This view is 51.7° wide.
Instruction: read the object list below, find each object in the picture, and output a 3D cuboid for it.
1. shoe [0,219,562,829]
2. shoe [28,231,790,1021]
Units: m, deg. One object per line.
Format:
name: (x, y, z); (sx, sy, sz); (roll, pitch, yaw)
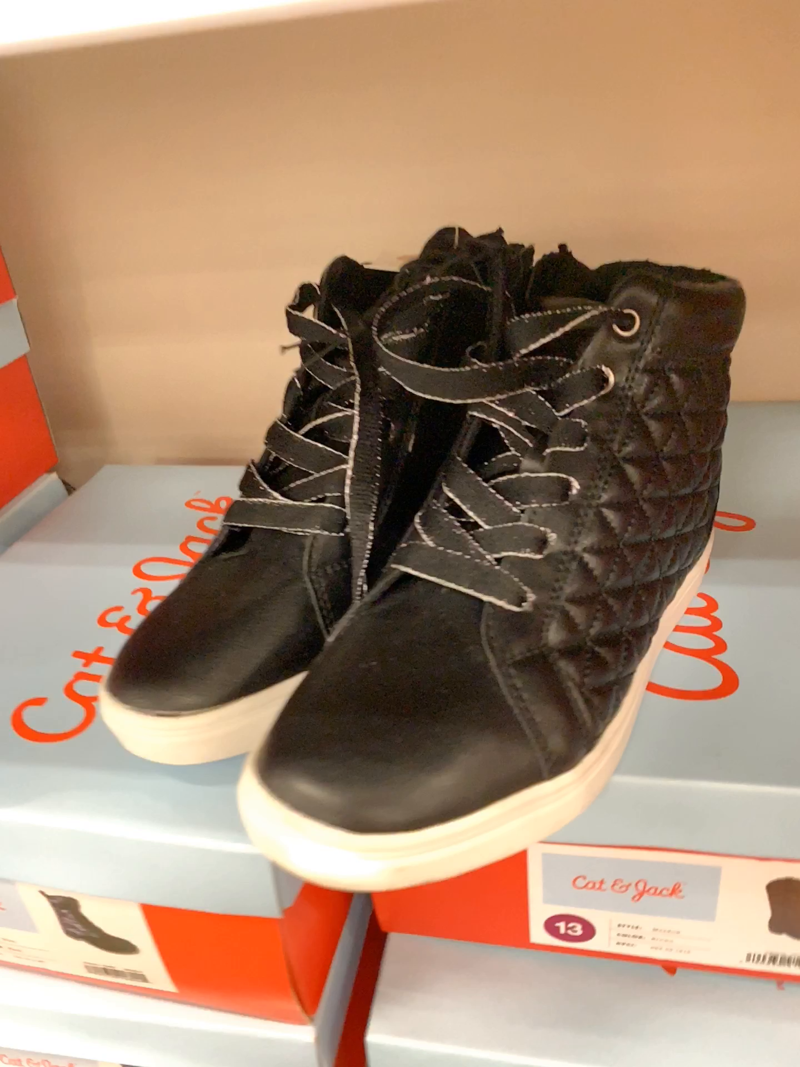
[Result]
shoe: (-0.034, -0.030, 0.319); (0.100, 0.119, 0.231); (15, 38, 32)
shoe: (0.032, -0.007, 0.257); (0.100, 0.109, 0.231); (15, 38, 32)
